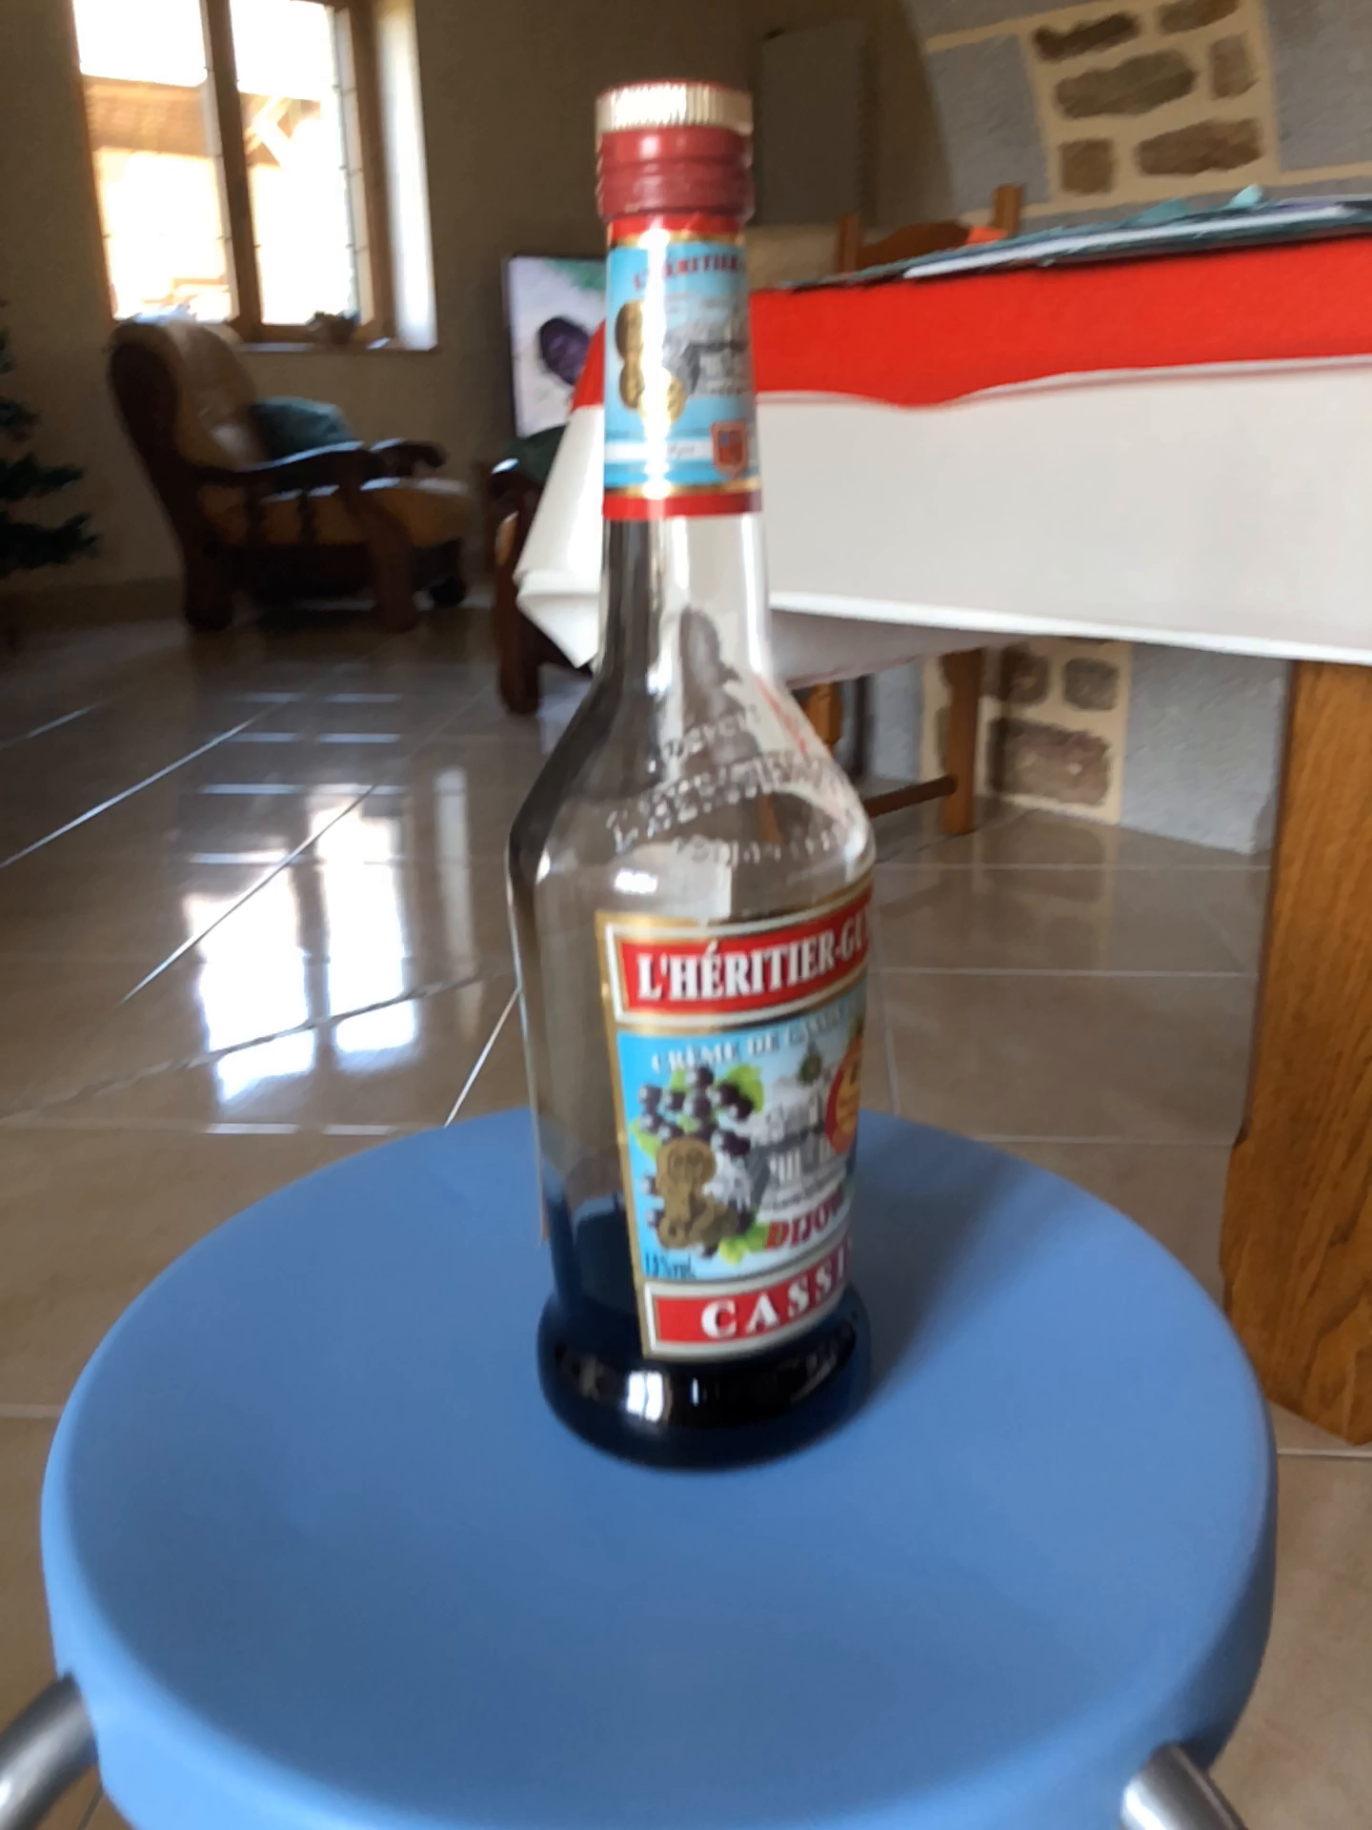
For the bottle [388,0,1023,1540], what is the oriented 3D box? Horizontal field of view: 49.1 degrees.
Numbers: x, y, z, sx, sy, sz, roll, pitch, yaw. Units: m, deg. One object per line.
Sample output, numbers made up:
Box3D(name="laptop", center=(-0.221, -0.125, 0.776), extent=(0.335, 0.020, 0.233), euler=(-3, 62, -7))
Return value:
Box3D(name="bottle", center=(0.004, -0.026, 0.342), extent=(0.090, 0.299, 0.090), euler=(-1, 18, 0))
